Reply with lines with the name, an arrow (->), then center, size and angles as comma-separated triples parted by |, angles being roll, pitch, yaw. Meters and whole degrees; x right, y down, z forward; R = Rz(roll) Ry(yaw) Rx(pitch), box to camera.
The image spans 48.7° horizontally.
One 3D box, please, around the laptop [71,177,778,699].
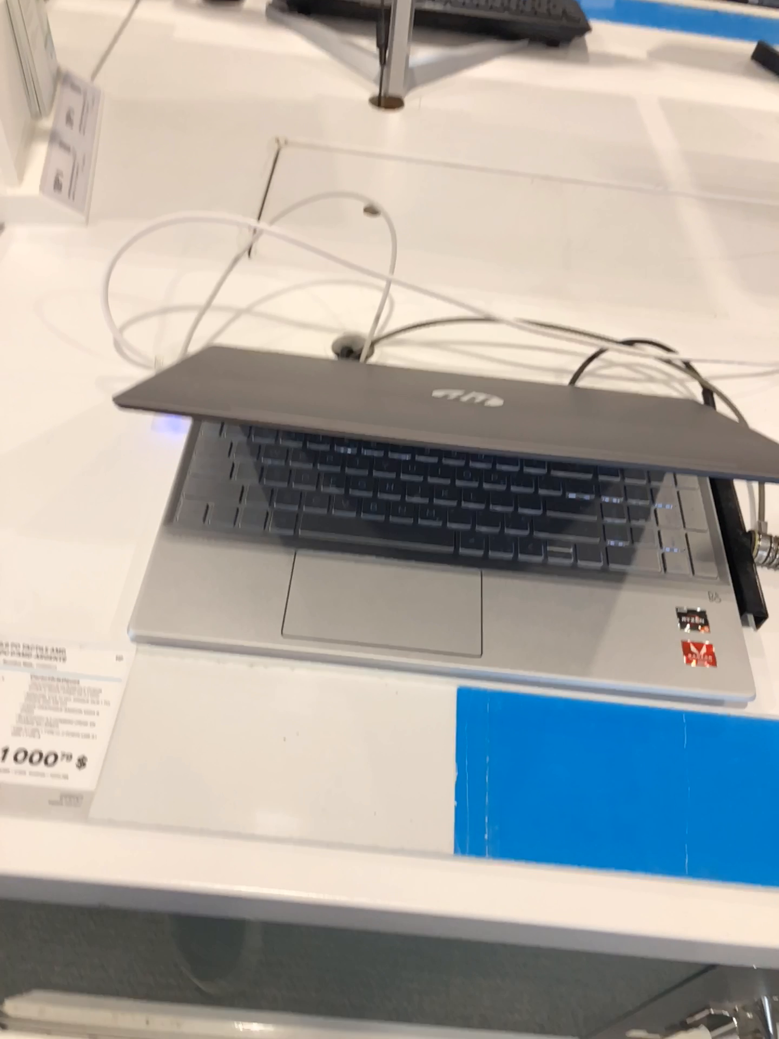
laptop -> 0.042, -0.052, 0.490 | 0.350, 0.134, 0.232 | 6, 51, -1
